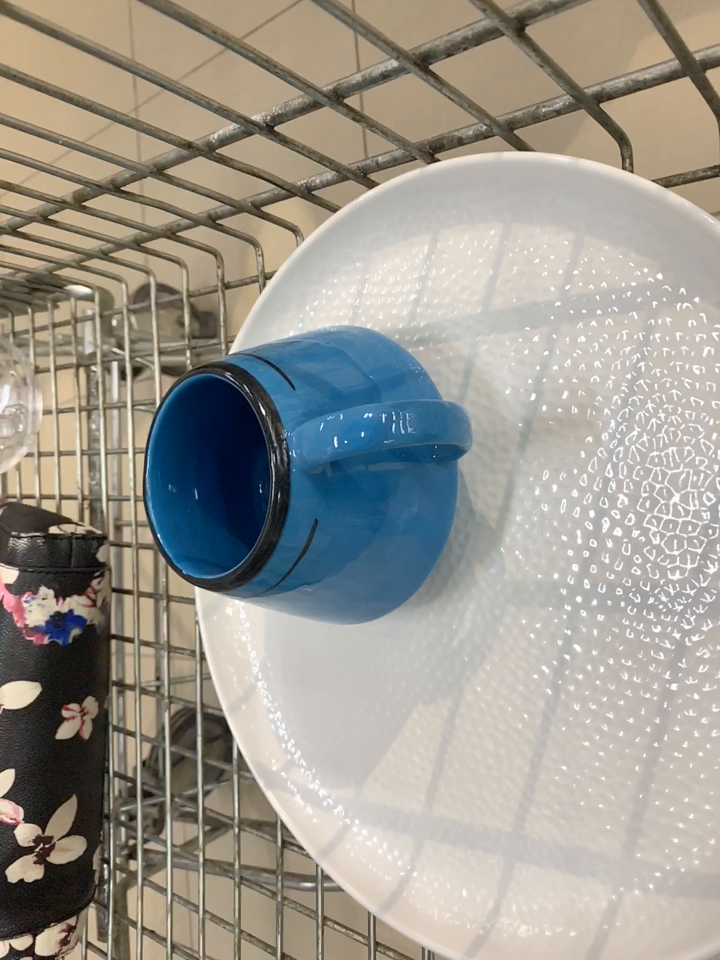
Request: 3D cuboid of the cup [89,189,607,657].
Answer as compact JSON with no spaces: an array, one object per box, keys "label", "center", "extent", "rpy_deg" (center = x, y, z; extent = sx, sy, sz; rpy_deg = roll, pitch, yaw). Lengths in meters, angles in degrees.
[{"label":"cup","center":[-0.008,-0.007,0.251],"extent":[0.131,0.090,0.100],"rpy_deg":[-19,79,36]}]
